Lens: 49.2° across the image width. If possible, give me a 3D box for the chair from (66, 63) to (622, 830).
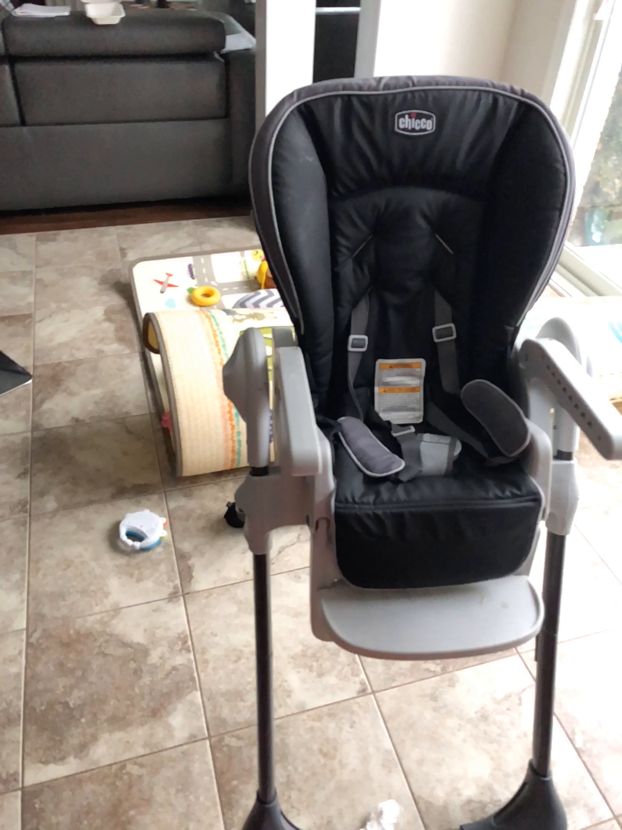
[{"bbox_3d":[0.105,0.093,1.089,0.650,0.996,0.884,-2,39,-7],"label":"chair"}]
